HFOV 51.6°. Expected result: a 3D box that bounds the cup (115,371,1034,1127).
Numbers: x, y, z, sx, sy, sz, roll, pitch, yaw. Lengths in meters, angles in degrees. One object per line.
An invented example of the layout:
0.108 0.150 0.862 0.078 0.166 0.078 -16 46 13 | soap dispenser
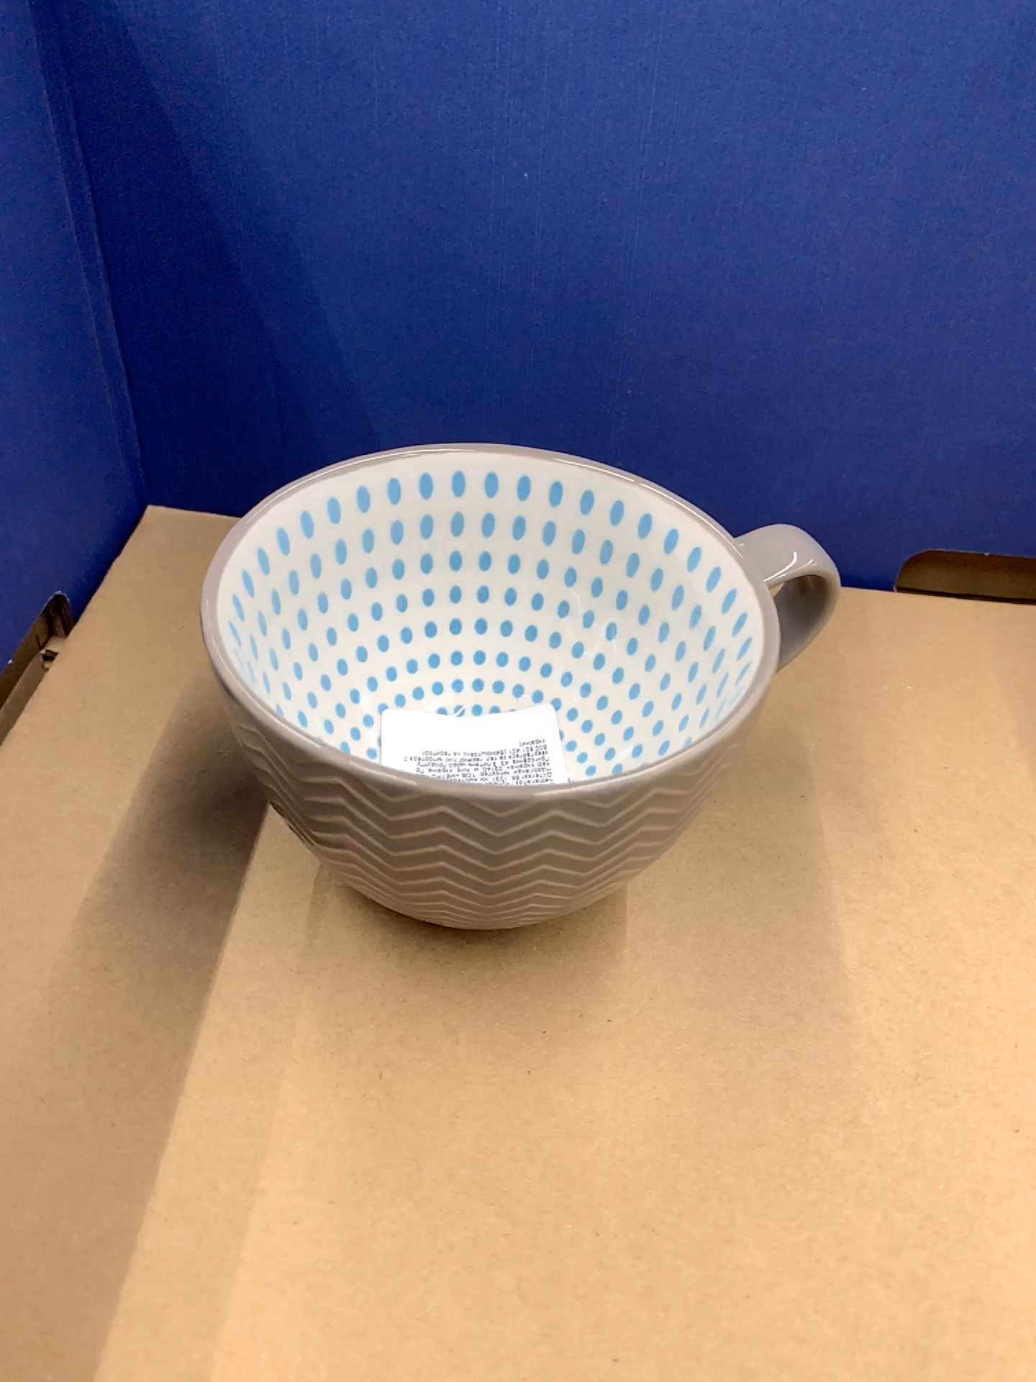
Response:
0.008 -0.005 0.236 0.143 0.061 0.119 -22 47 -27 | cup
